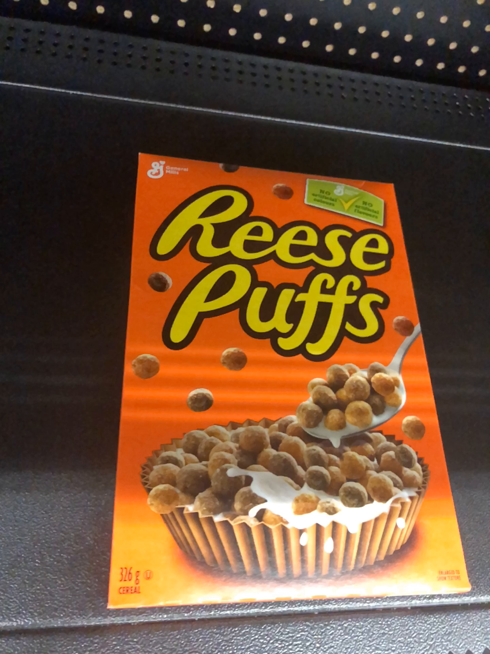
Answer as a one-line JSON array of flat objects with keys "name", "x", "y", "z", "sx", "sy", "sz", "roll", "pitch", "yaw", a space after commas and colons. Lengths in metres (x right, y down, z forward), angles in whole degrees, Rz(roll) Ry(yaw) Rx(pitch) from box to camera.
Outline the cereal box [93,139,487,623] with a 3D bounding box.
[{"name": "cereal box", "x": 0.020, "y": 0.019, "z": 0.350, "sx": 0.200, "sy": 0.050, "sz": 0.291, "roll": 4, "pitch": 64, "yaw": -11}]
